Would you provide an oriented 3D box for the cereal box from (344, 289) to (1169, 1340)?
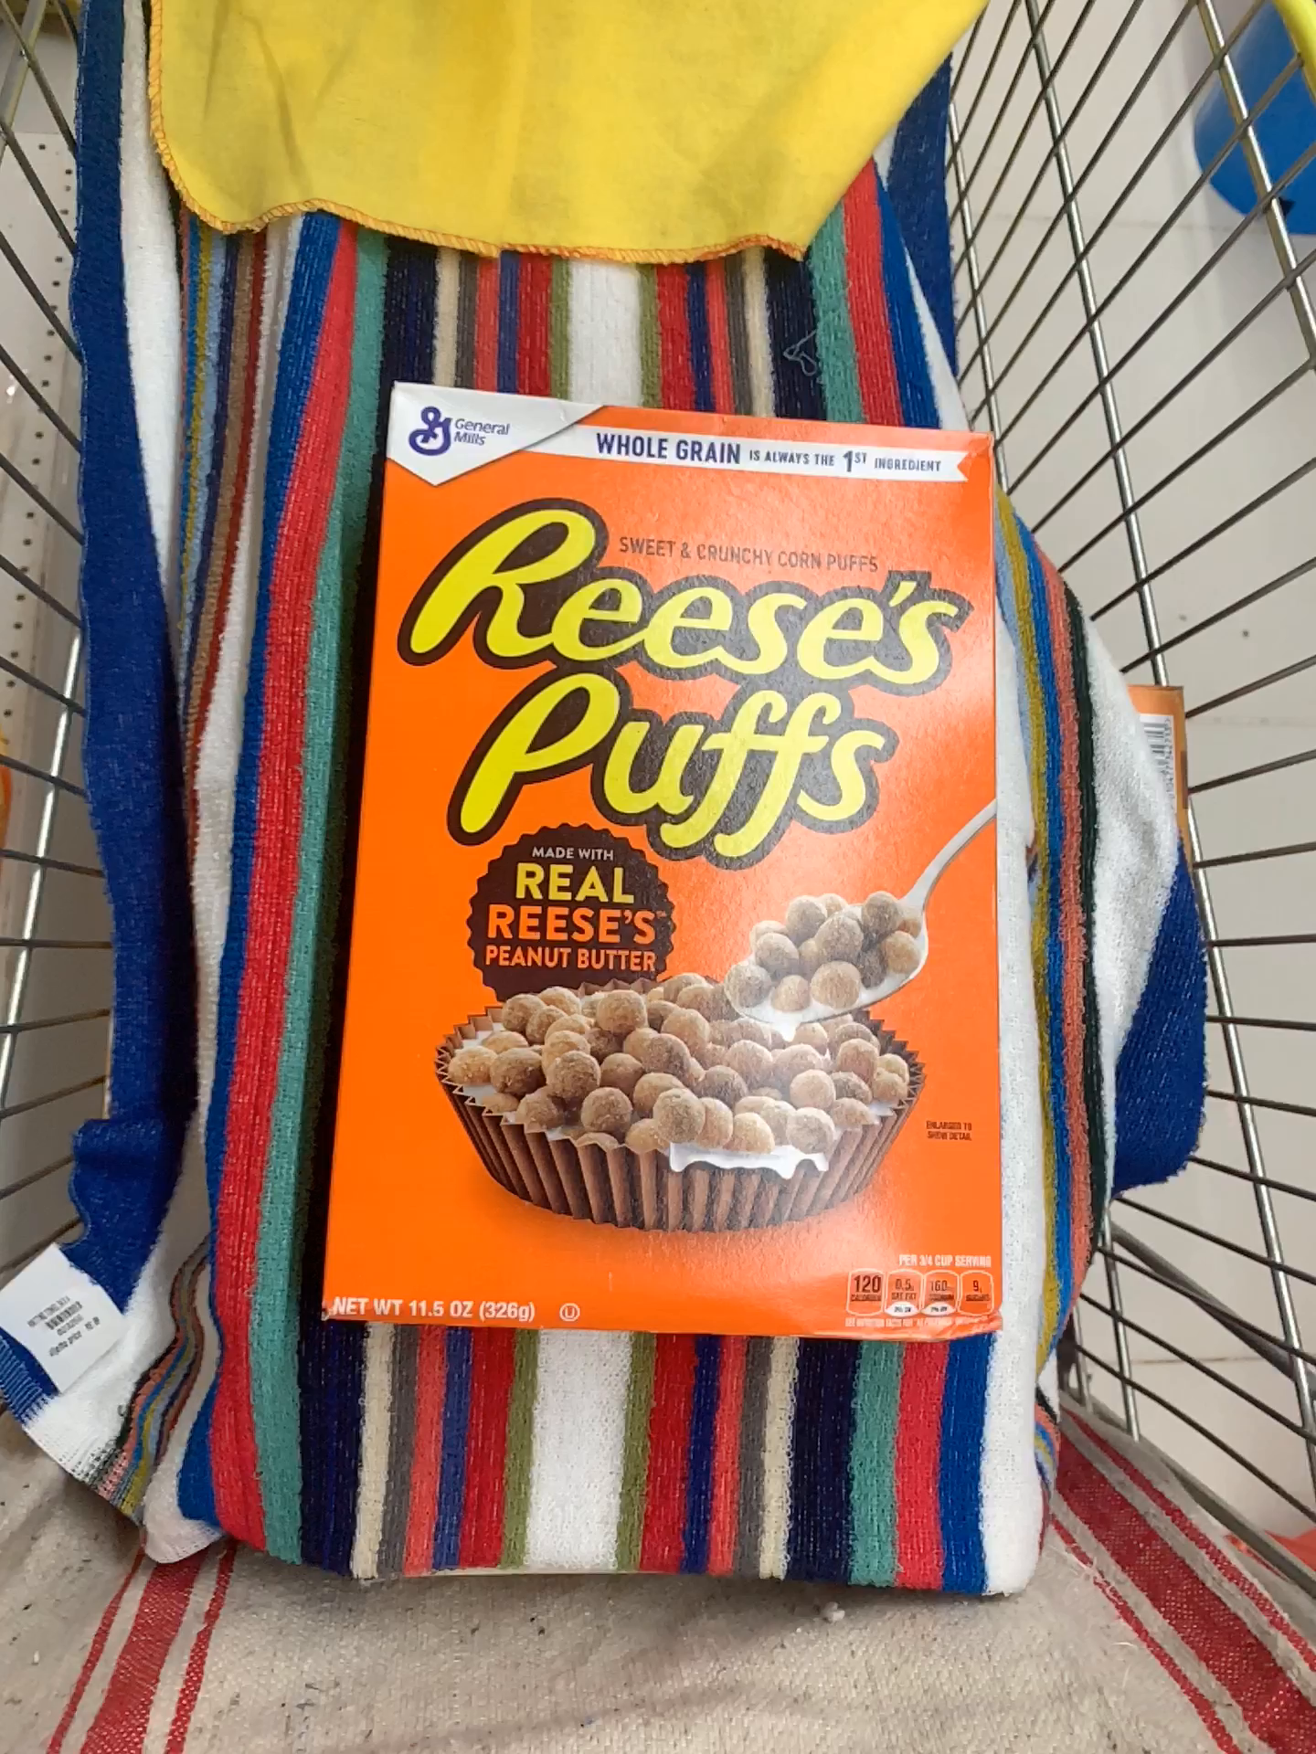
[{"bbox_3d":[0.029,-0.015,0.384,0.200,0.080,0.260,4,81,-5],"label":"cereal box"}]
